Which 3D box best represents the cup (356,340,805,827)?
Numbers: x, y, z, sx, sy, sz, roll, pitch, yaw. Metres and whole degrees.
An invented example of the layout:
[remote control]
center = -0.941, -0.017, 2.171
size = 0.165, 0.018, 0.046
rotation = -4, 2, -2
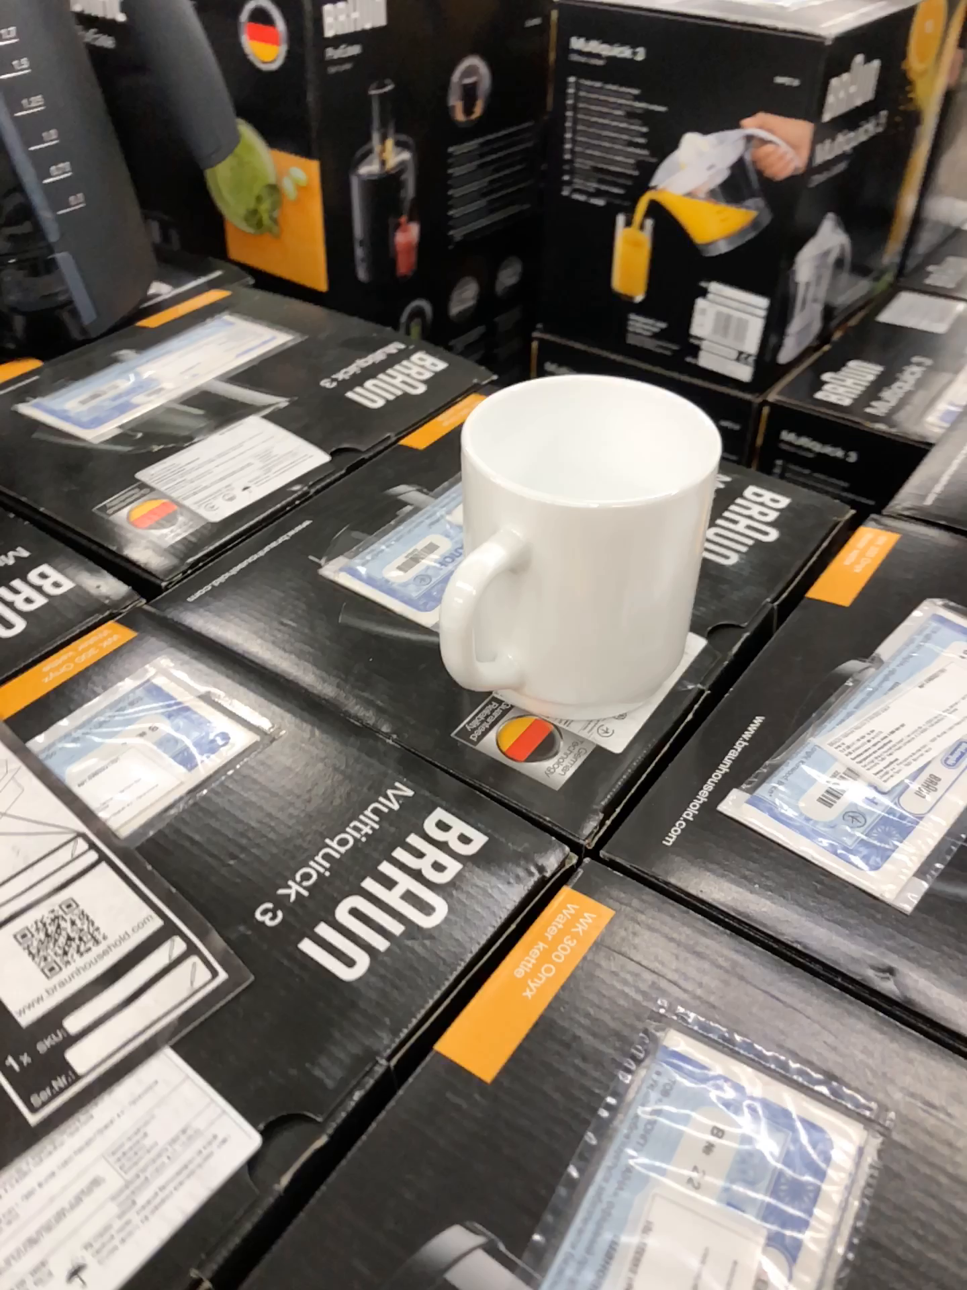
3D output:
[cup]
center = 0.033, -0.025, 0.344
size = 0.082, 0.091, 0.111
rotation = 27, 49, 31
